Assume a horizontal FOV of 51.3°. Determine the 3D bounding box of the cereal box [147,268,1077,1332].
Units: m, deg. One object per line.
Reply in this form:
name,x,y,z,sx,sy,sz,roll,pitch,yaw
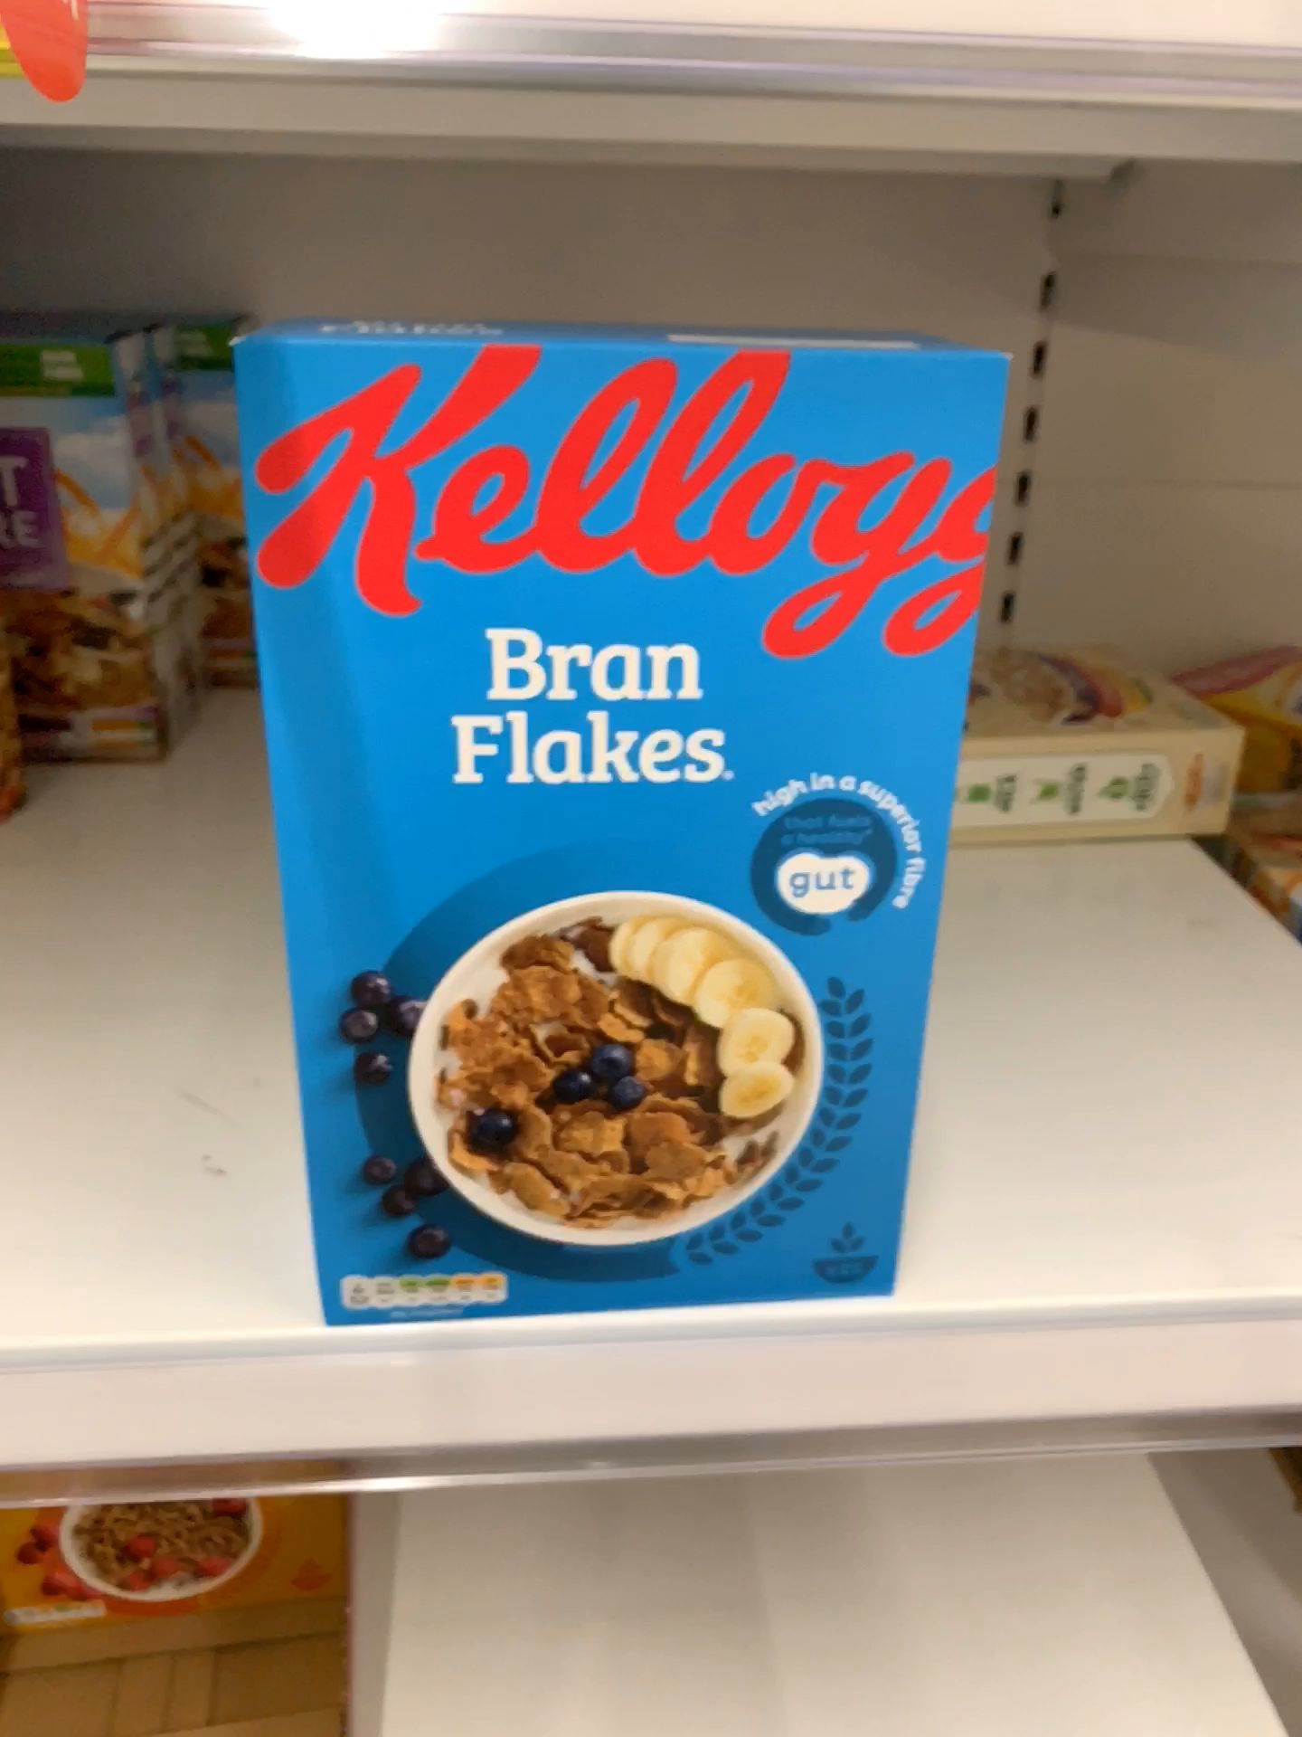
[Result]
cereal box,-0.013,-0.014,0.408,0.210,0.297,0.091,-1,25,-6
